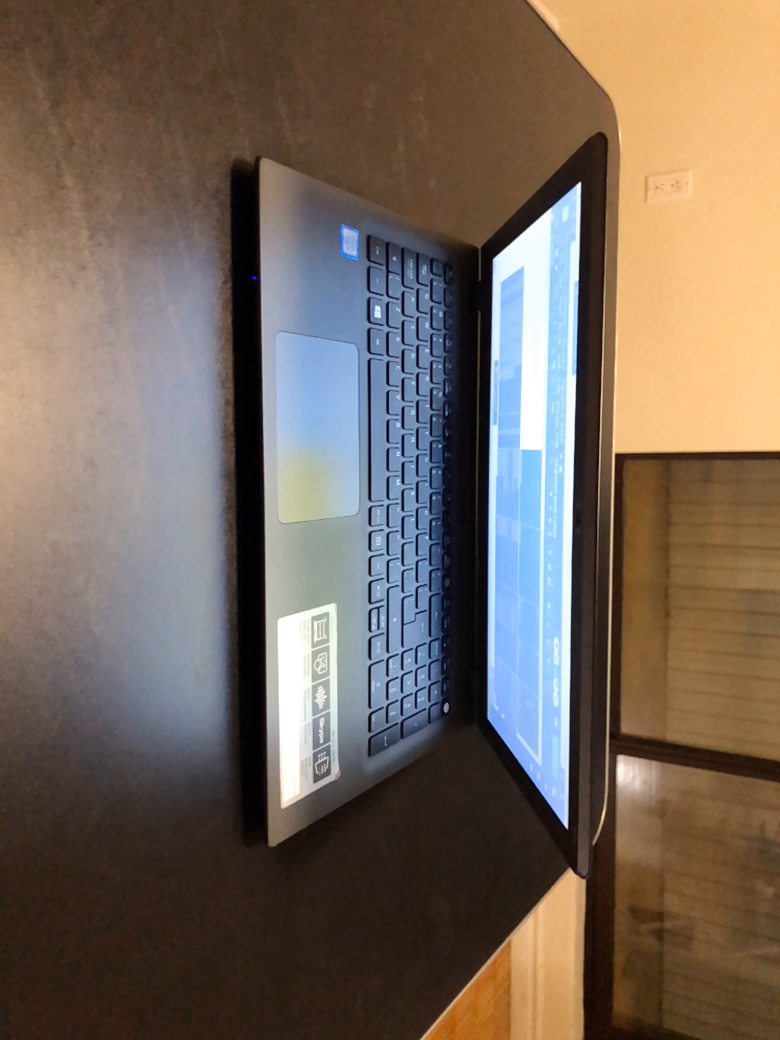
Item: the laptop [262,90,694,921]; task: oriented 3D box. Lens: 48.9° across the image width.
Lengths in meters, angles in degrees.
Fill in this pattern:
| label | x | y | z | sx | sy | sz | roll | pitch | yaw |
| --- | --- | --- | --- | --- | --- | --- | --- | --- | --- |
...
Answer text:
| label | x | y | z | sx | sy | sz | roll | pitch | yaw |
| --- | --- | --- | --- | --- | --- | --- | --- | --- | --- |
| laptop | 0.069 | -0.011 | 0.525 | 0.252 | 0.155 | 0.368 | -8 | 99 | -57 |
